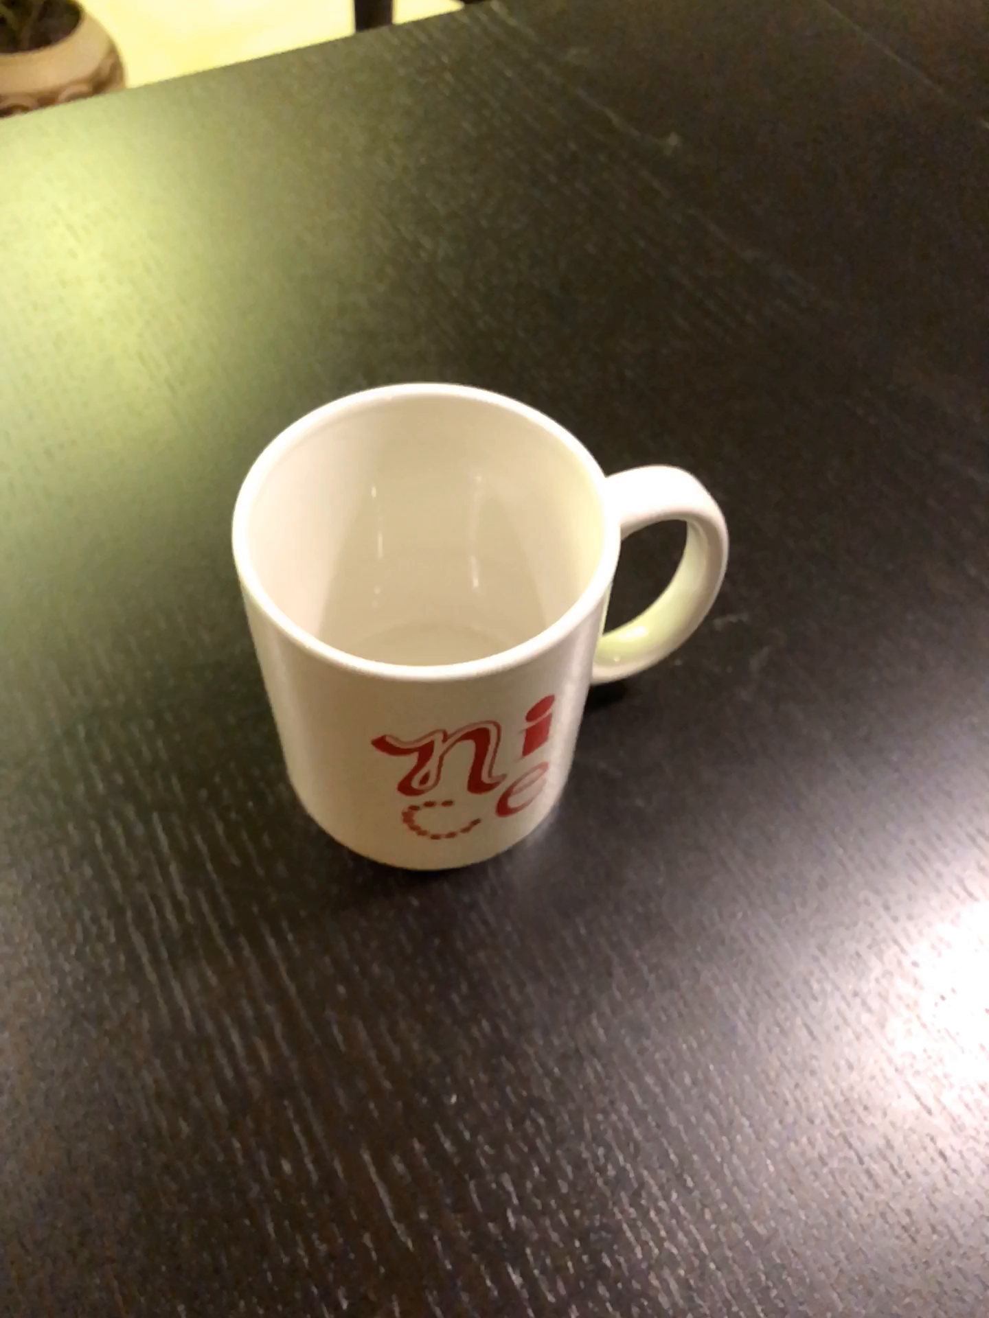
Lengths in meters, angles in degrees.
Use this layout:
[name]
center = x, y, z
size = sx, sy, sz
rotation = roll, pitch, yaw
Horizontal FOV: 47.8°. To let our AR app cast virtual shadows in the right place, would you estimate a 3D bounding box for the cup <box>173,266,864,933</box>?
[cup]
center = 0.000, -0.015, 0.284
size = 0.120, 0.100, 0.100
rotation = -19, 59, -15
